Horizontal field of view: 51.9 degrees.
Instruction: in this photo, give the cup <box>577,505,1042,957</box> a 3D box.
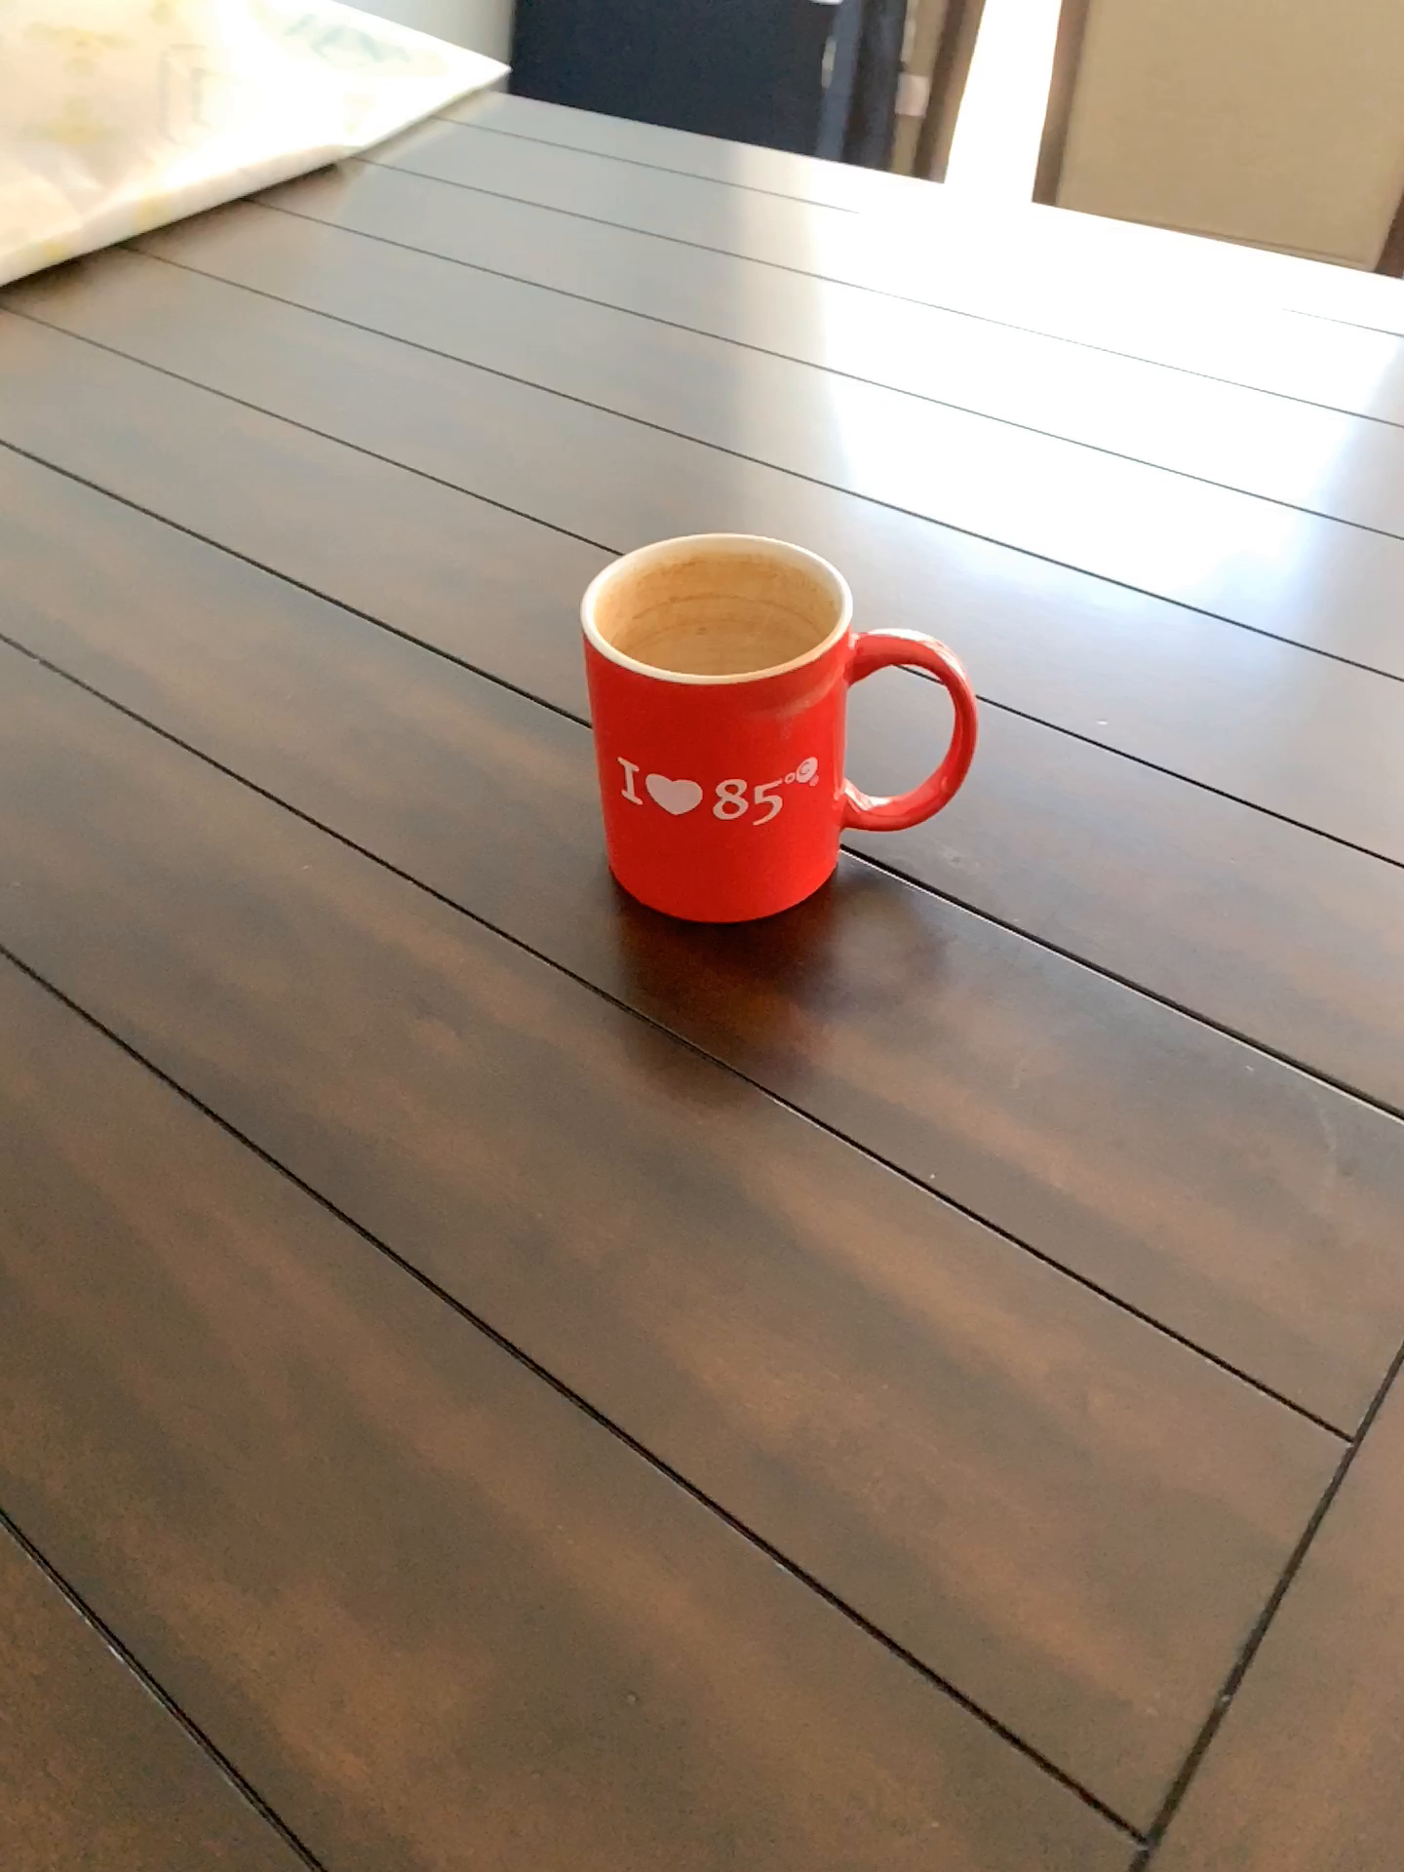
[{"bbox_3d":[0.027,-0.061,0.436,0.120,0.100,0.080,-4,44,-2],"label":"cup"}]
